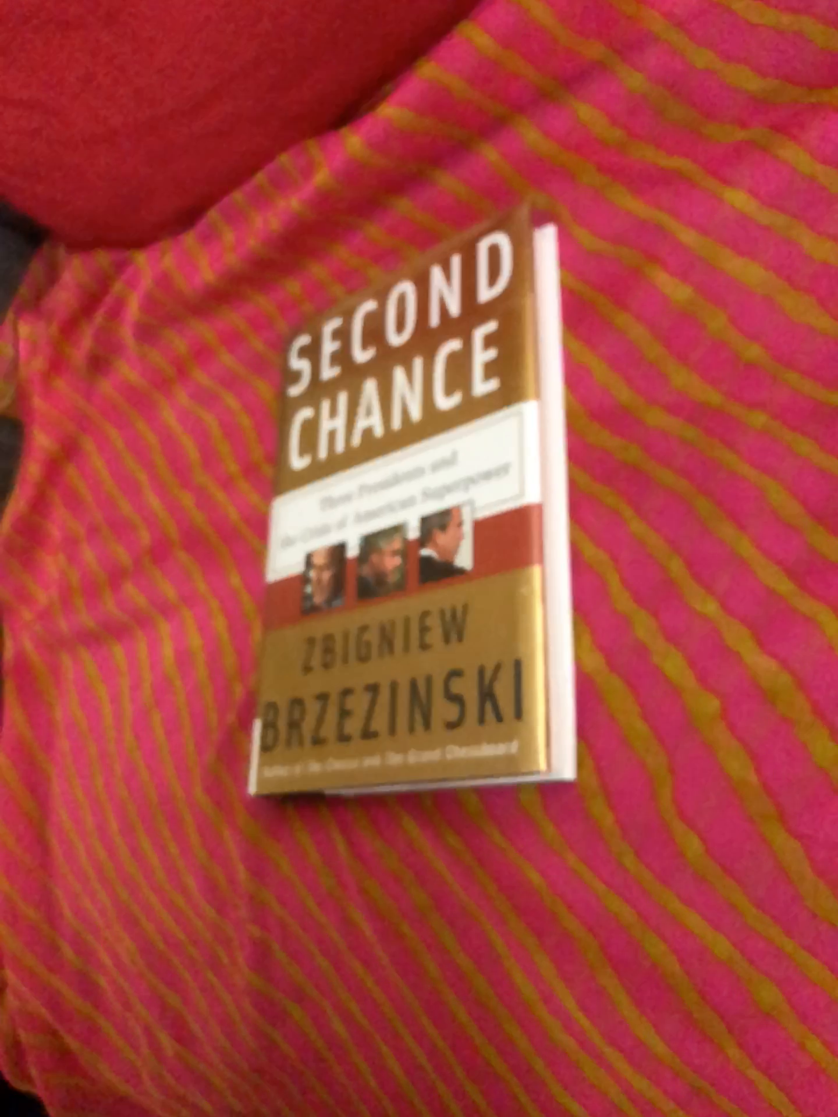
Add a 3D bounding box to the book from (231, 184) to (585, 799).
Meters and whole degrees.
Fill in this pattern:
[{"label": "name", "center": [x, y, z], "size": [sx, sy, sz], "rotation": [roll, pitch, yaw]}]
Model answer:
[{"label": "book", "center": [-0.010, -0.016, 0.360], "size": [0.141, 0.037, 0.200], "rotation": [-18, 64, 44]}]
